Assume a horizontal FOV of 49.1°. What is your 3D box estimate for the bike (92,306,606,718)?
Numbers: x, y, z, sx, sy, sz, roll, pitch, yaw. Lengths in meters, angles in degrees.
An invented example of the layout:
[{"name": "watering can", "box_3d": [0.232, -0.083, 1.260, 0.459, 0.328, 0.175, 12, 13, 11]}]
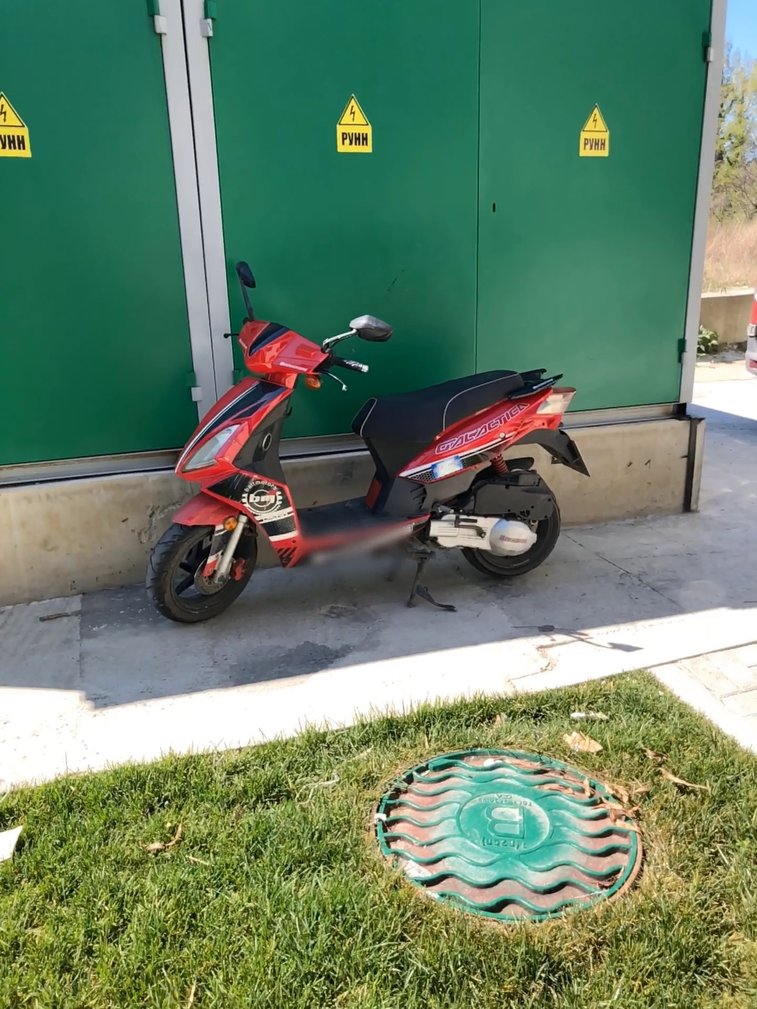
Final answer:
[{"name": "bike", "box_3d": [-0.014, -0.069, 2.892, 1.590, 1.087, 0.590, -7, 17, -16]}]
